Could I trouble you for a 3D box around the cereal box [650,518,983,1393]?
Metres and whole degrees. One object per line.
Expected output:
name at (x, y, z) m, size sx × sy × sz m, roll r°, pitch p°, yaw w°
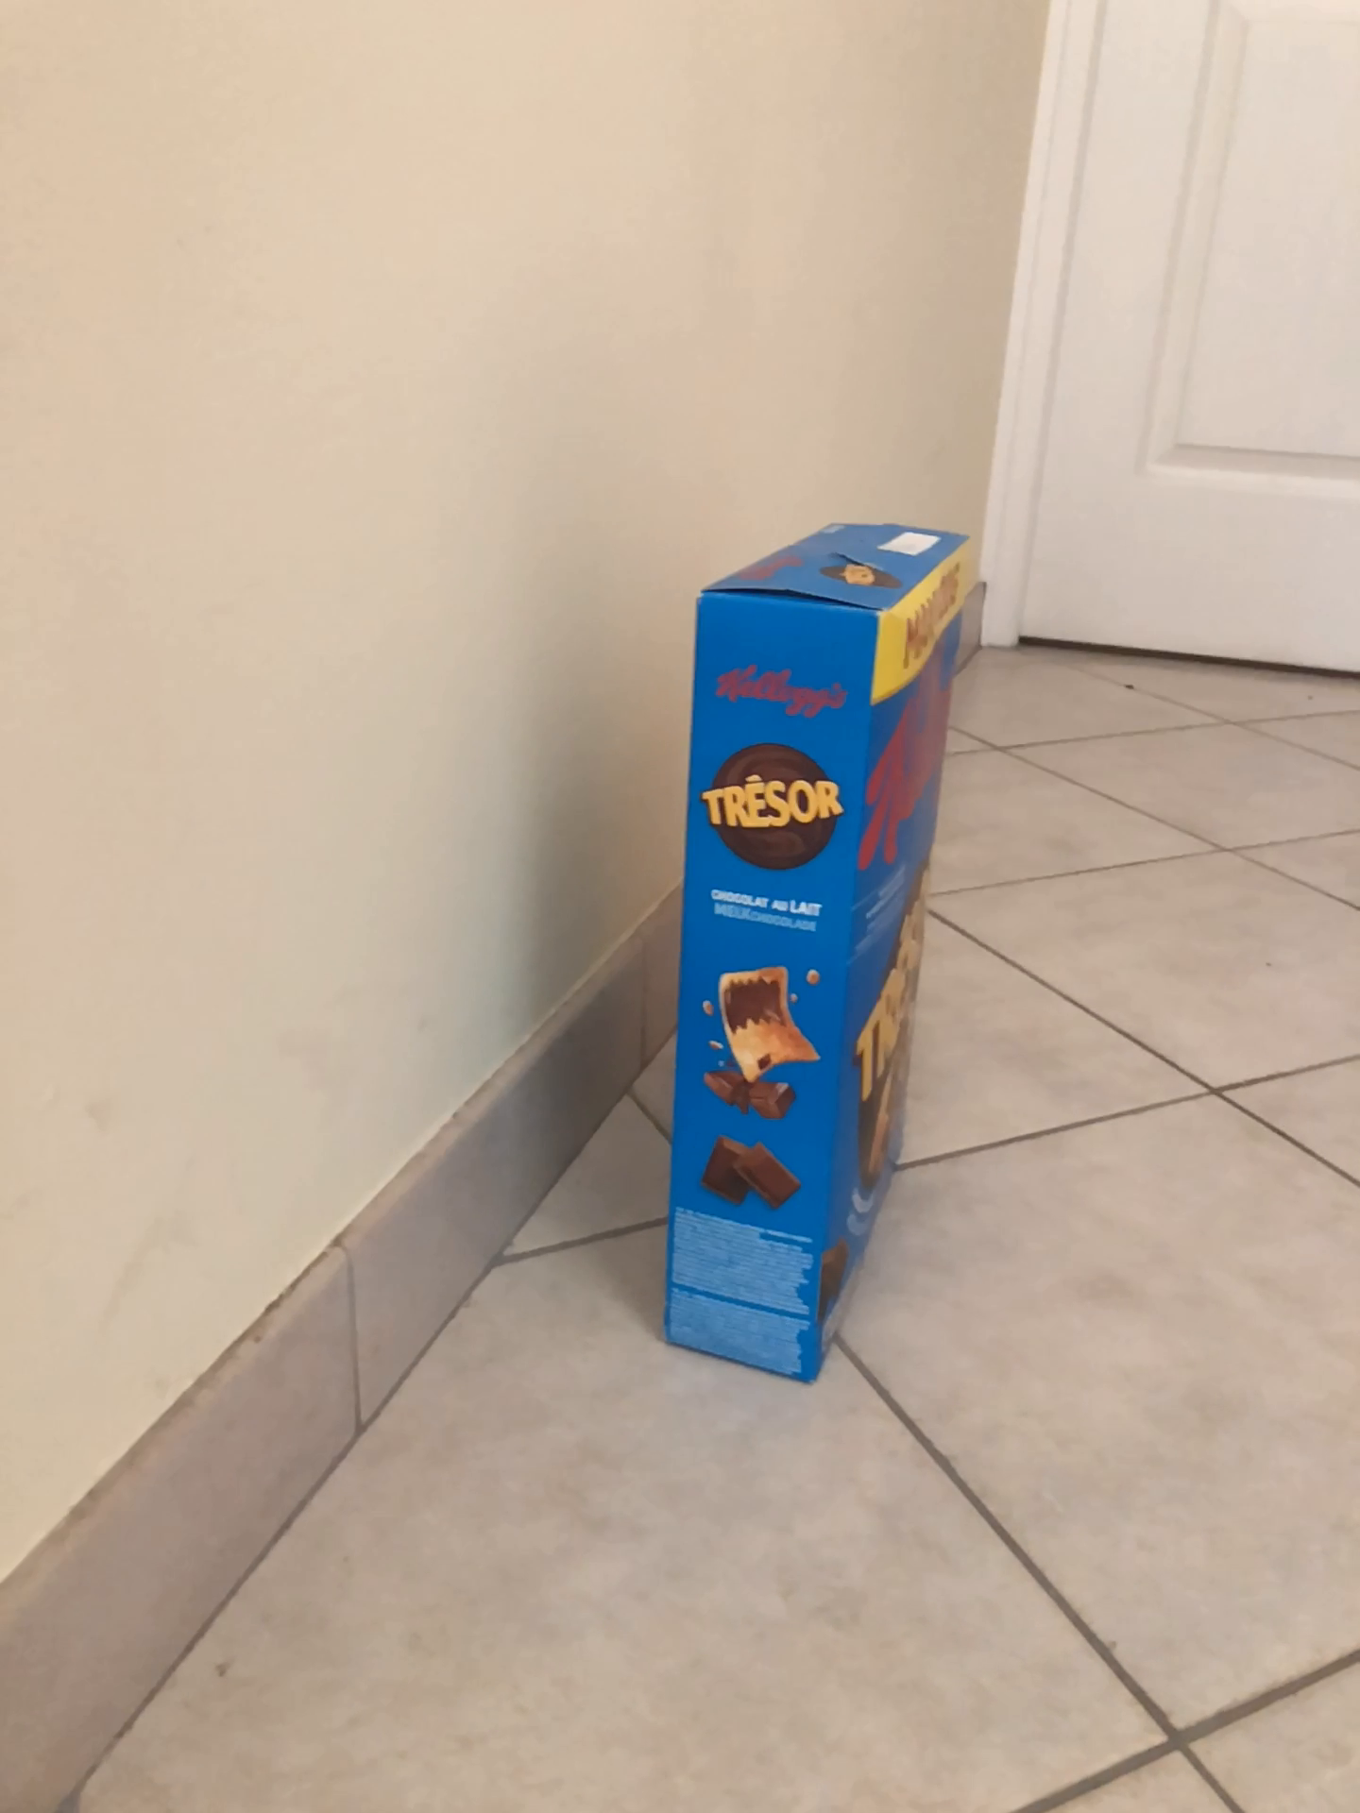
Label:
cereal box at (0.058, 0.008, 0.607) m, size 0.070 × 0.298 × 0.191 m, roll 9°, pitch 22°, yaw 16°
